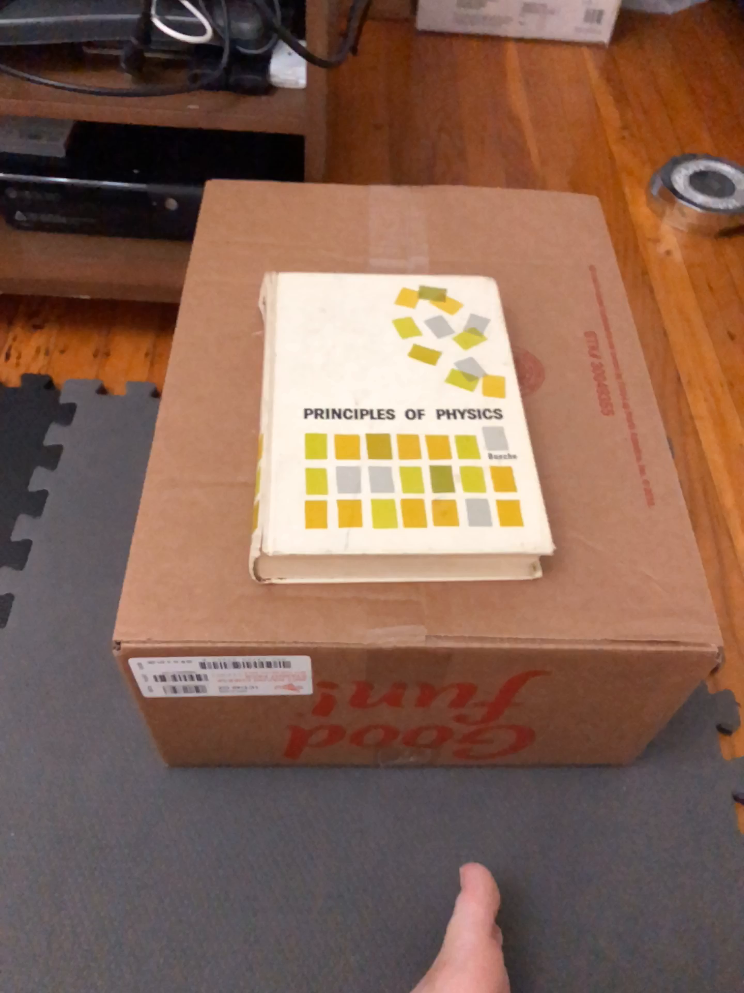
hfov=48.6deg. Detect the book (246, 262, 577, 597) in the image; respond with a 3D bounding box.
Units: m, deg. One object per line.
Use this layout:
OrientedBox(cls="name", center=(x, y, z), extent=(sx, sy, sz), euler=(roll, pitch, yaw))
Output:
OrientedBox(cls="book", center=(0.017, -0.055, 0.536), extent=(0.180, 0.040, 0.251), euler=(0, 53, -3))
